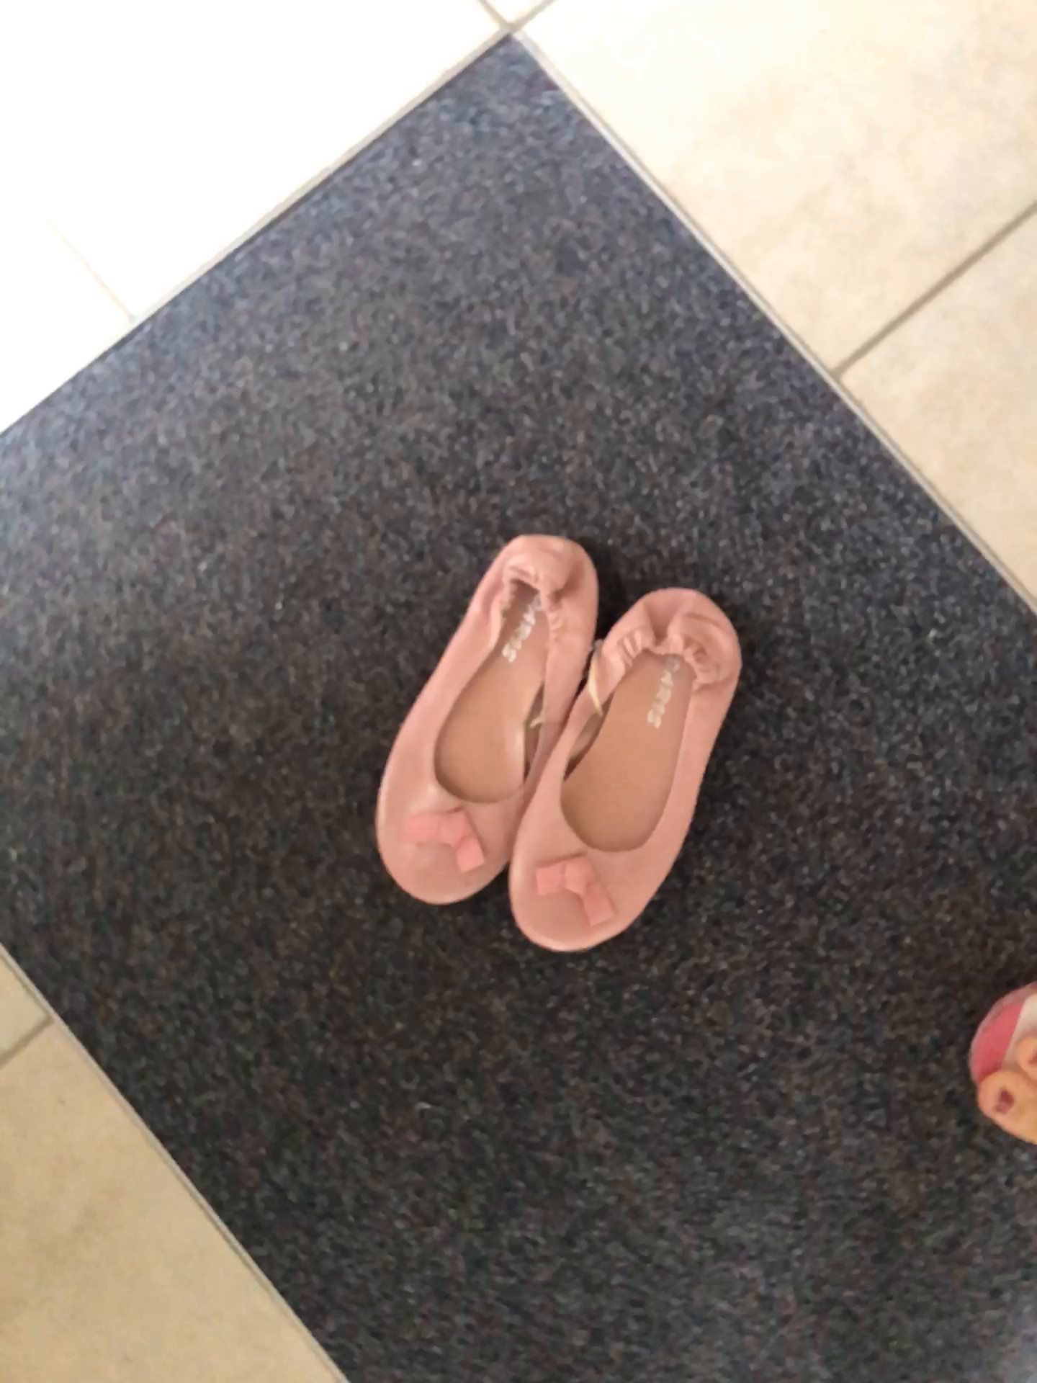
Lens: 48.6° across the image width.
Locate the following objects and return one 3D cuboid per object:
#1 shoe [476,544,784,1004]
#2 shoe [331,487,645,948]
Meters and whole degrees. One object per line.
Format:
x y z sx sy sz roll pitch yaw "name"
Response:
0.061 0.047 0.669 0.090 0.100 0.230 21 85 2 "shoe"
-0.015 0.016 0.665 0.090 0.100 0.230 21 85 2 "shoe"
